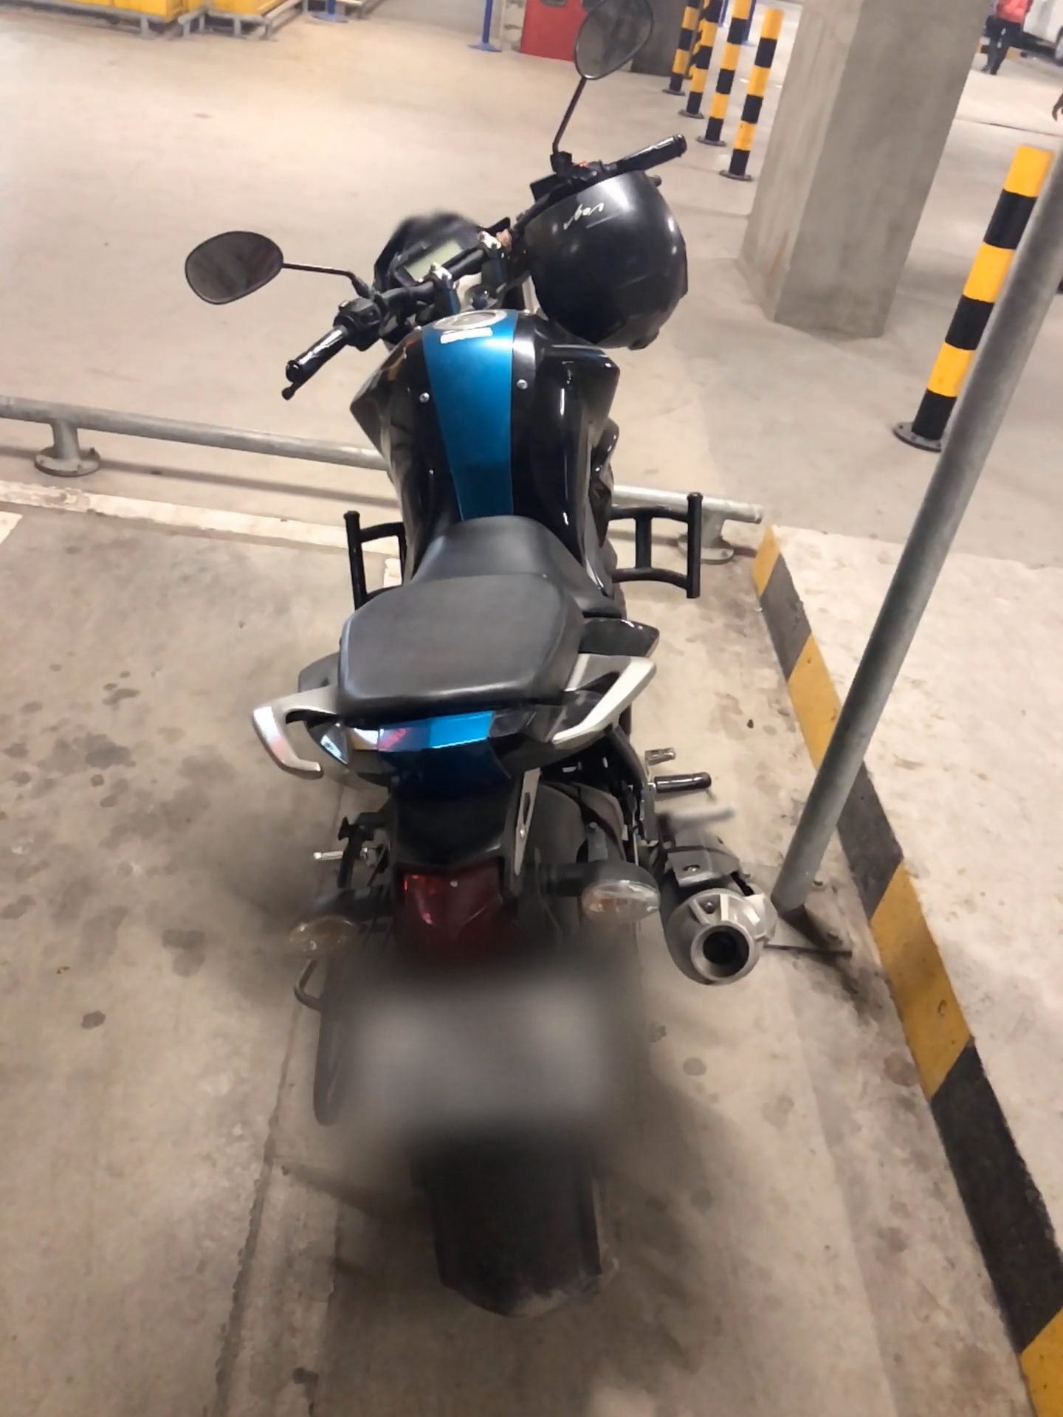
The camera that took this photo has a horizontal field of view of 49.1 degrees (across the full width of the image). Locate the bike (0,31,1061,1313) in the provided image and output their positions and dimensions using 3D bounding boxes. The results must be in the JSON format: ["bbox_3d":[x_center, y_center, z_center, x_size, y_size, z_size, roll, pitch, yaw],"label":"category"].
[{"bbox_3d":[-0.190,-0.183,1.524,0.766,0.950,1.422,4,36,-9],"label":"bike"}]
